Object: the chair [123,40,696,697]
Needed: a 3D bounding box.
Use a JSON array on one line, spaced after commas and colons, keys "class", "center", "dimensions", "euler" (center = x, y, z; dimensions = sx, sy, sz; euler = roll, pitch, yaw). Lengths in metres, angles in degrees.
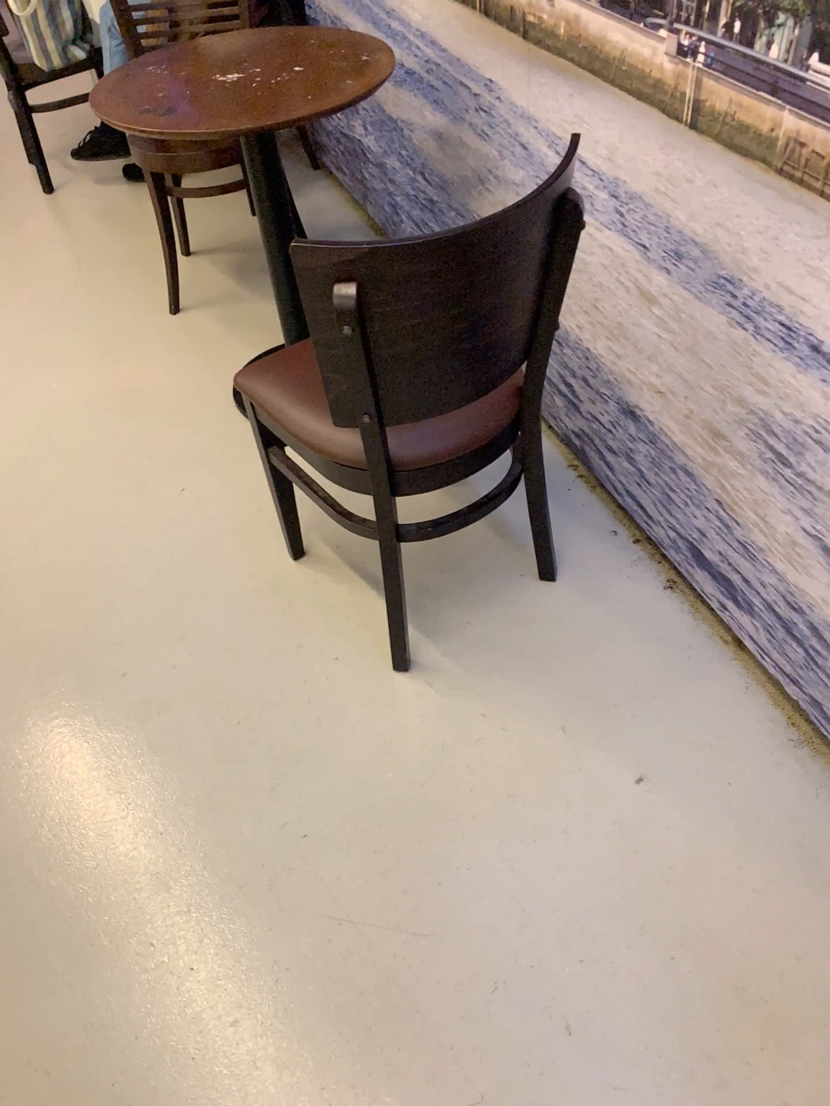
[{"class": "chair", "center": [-0.001, -0.293, 1.343], "dimensions": [0.559, 0.729, 0.520], "euler": [-26, 48, -18]}]
